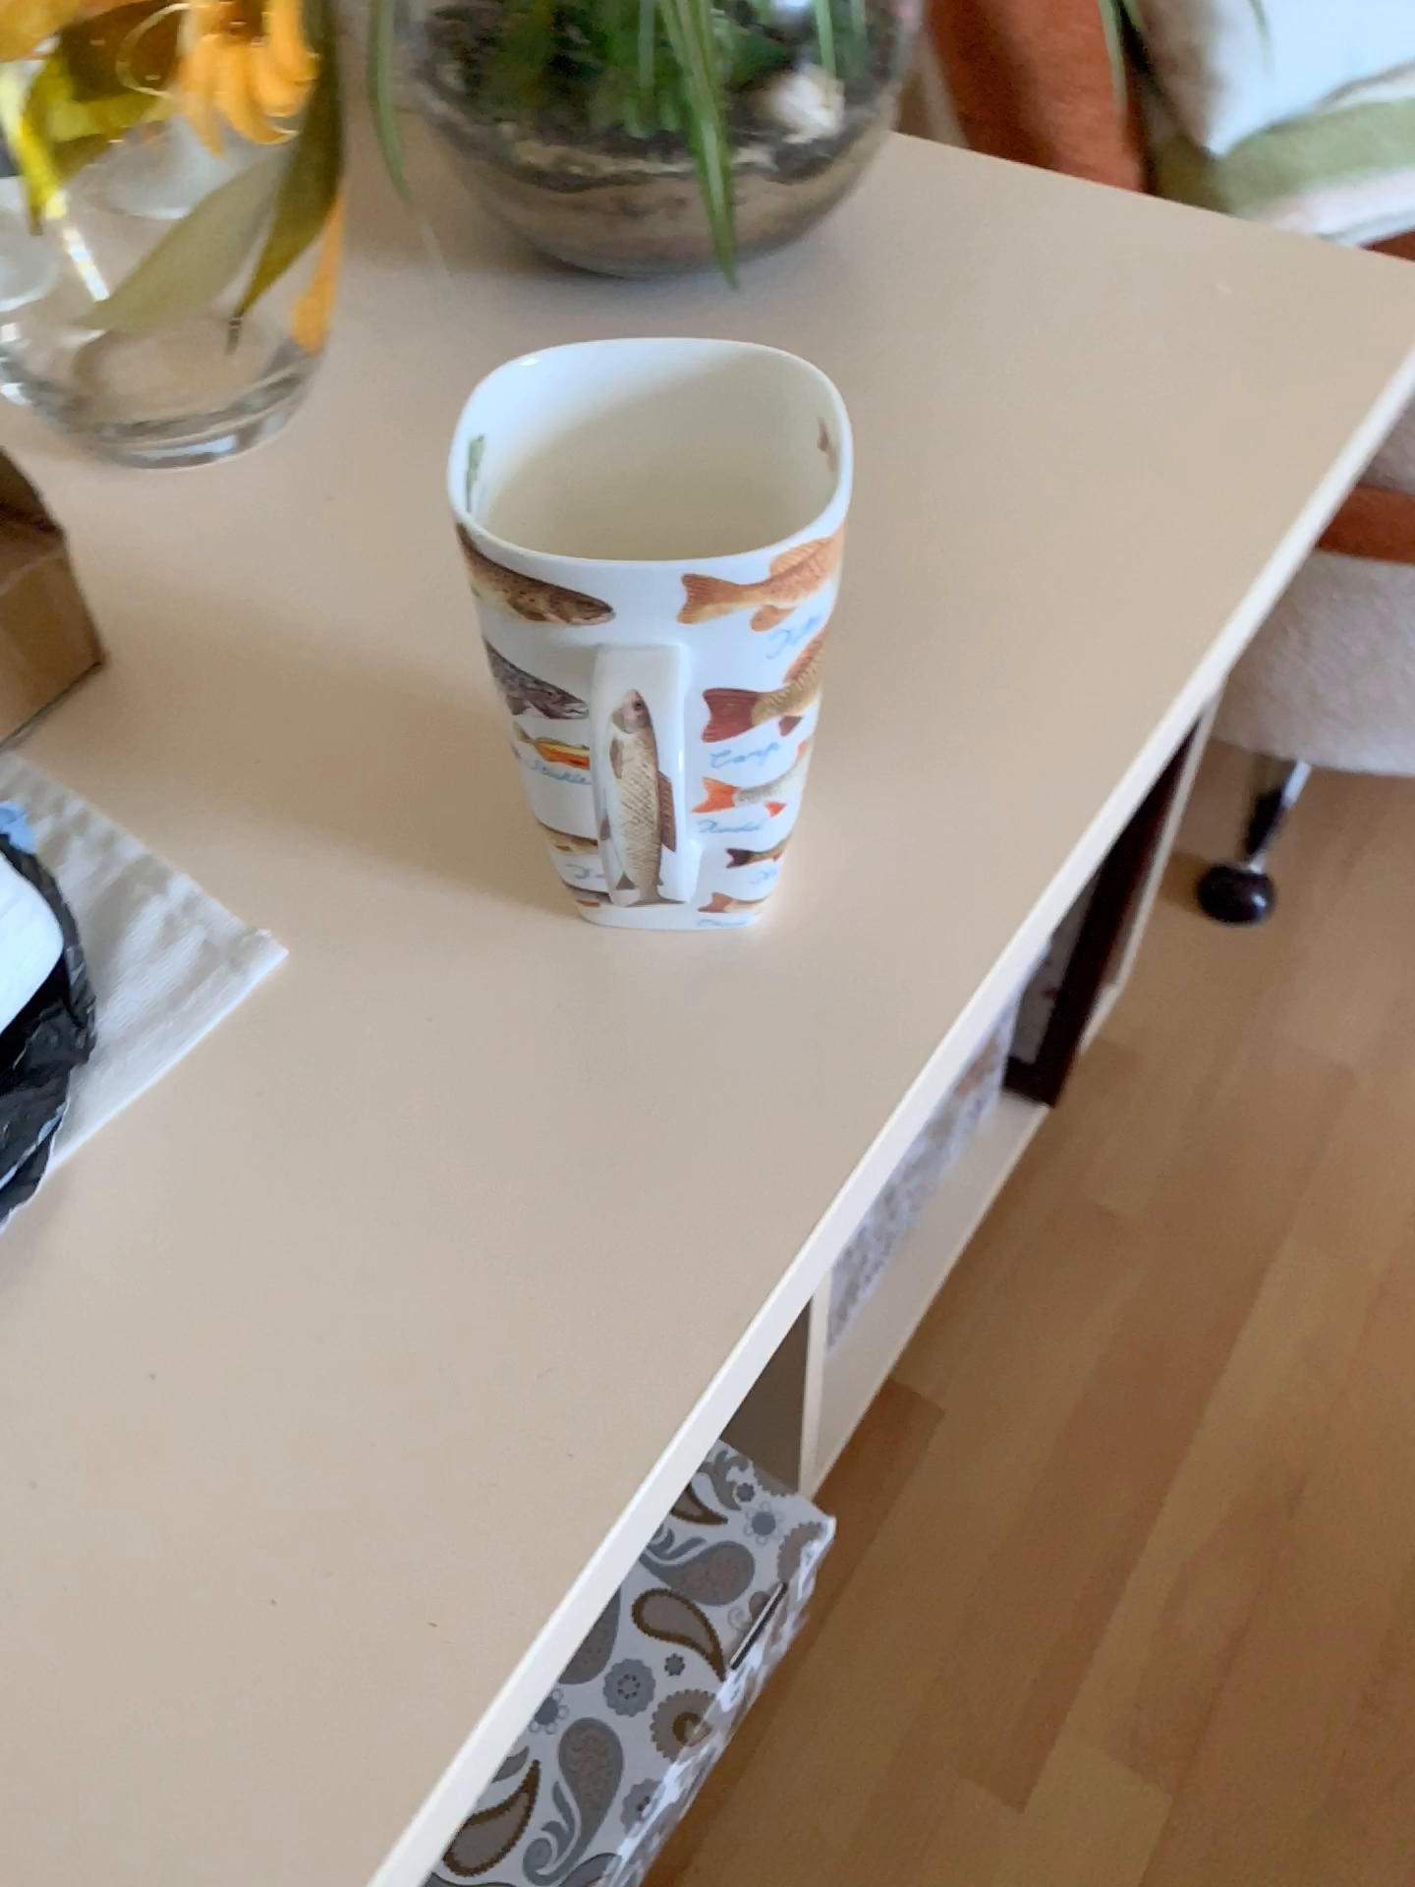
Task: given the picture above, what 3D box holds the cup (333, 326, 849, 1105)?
[{"bbox_3d":[-0.019,-0.054,0.350,0.091,0.122,0.140,-1,50,1],"label":"cup"}]
